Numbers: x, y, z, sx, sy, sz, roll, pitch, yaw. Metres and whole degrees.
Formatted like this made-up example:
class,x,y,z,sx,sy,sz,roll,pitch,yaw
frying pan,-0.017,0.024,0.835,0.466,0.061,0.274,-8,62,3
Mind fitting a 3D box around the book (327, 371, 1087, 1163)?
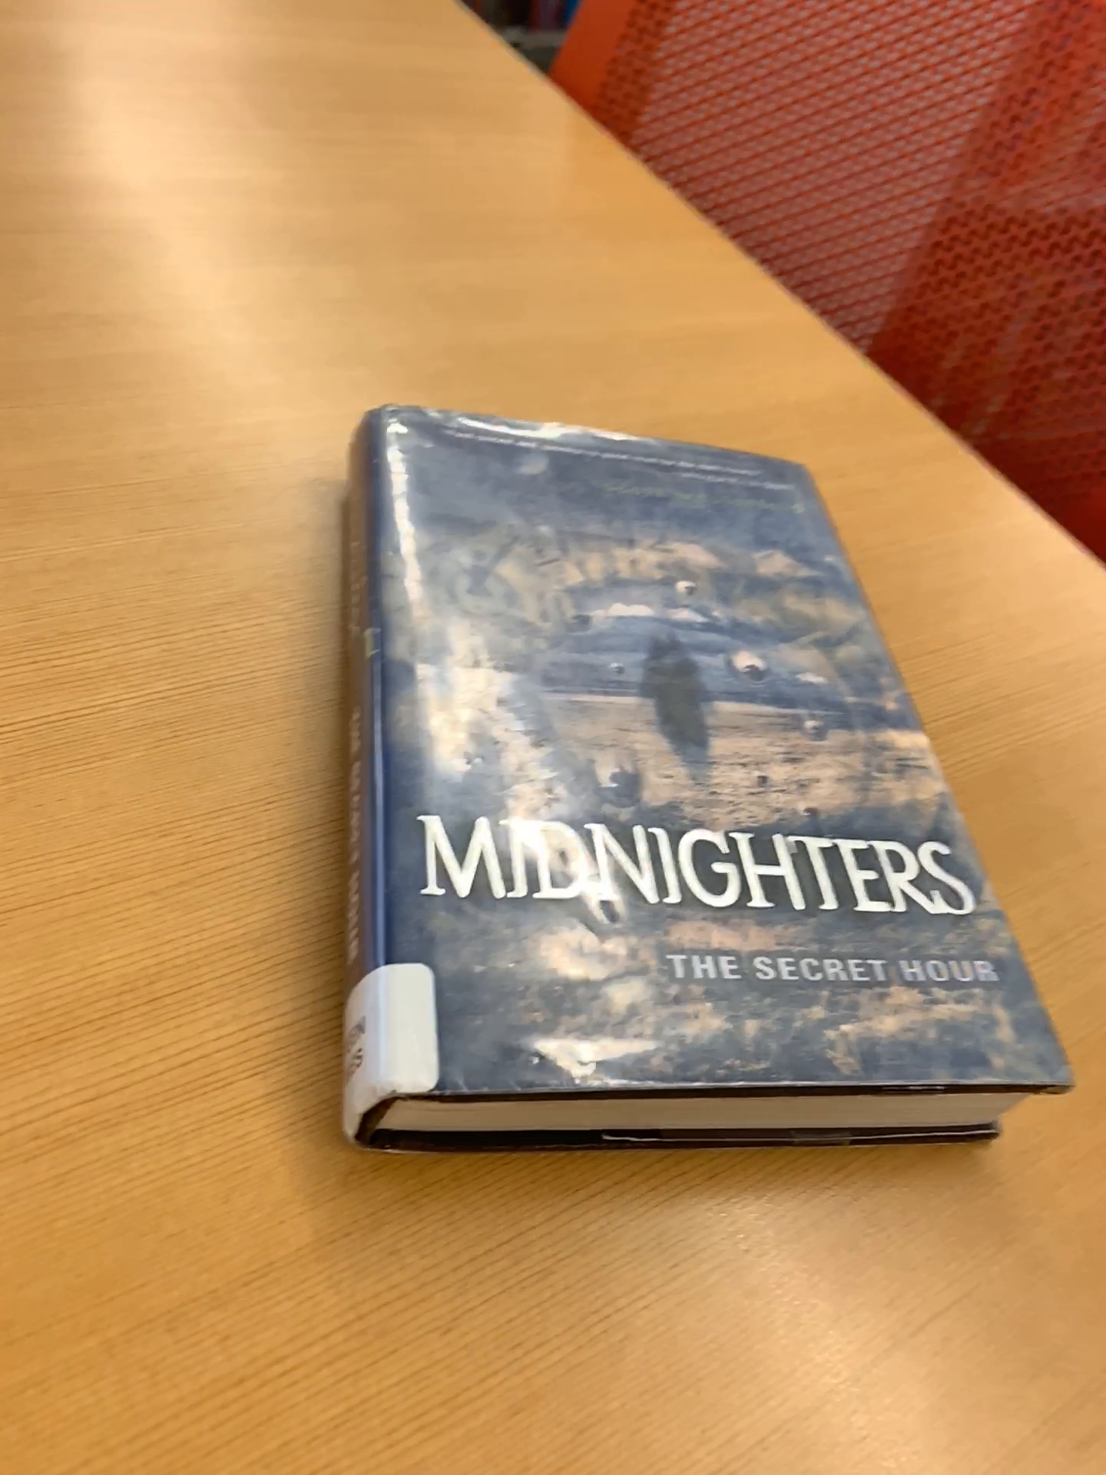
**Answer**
class,x,y,z,sx,sy,sz,roll,pitch,yaw
book,0.021,-0.007,0.300,0.151,0.036,0.221,5,49,-15
